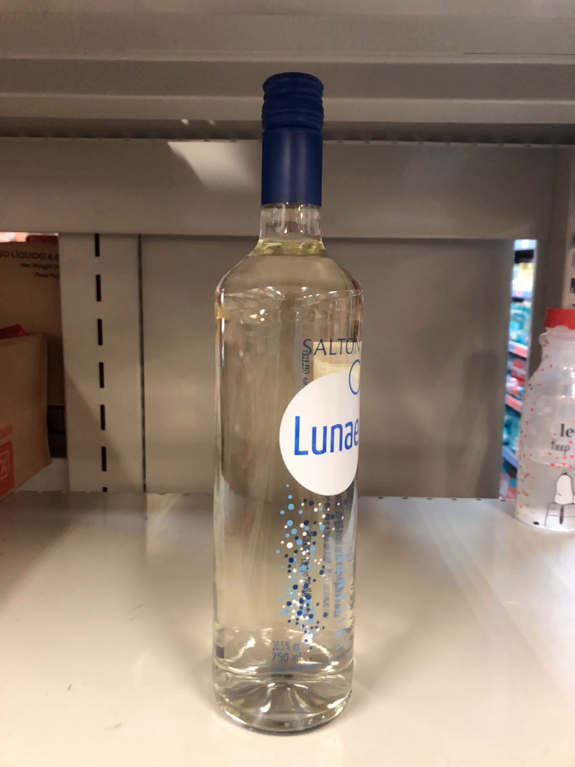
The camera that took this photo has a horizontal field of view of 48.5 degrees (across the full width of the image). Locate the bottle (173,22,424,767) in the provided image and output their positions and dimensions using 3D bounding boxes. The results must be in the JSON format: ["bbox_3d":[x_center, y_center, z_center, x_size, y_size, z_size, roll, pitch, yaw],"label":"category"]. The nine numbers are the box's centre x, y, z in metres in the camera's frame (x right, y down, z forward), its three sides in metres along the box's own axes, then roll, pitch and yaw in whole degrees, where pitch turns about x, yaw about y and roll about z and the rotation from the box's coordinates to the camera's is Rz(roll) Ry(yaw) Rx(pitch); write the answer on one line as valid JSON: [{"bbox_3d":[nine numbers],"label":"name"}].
[{"bbox_3d":[0.001,0.011,0.313,0.080,0.309,0.080,1,10,0],"label":"bottle"}]
